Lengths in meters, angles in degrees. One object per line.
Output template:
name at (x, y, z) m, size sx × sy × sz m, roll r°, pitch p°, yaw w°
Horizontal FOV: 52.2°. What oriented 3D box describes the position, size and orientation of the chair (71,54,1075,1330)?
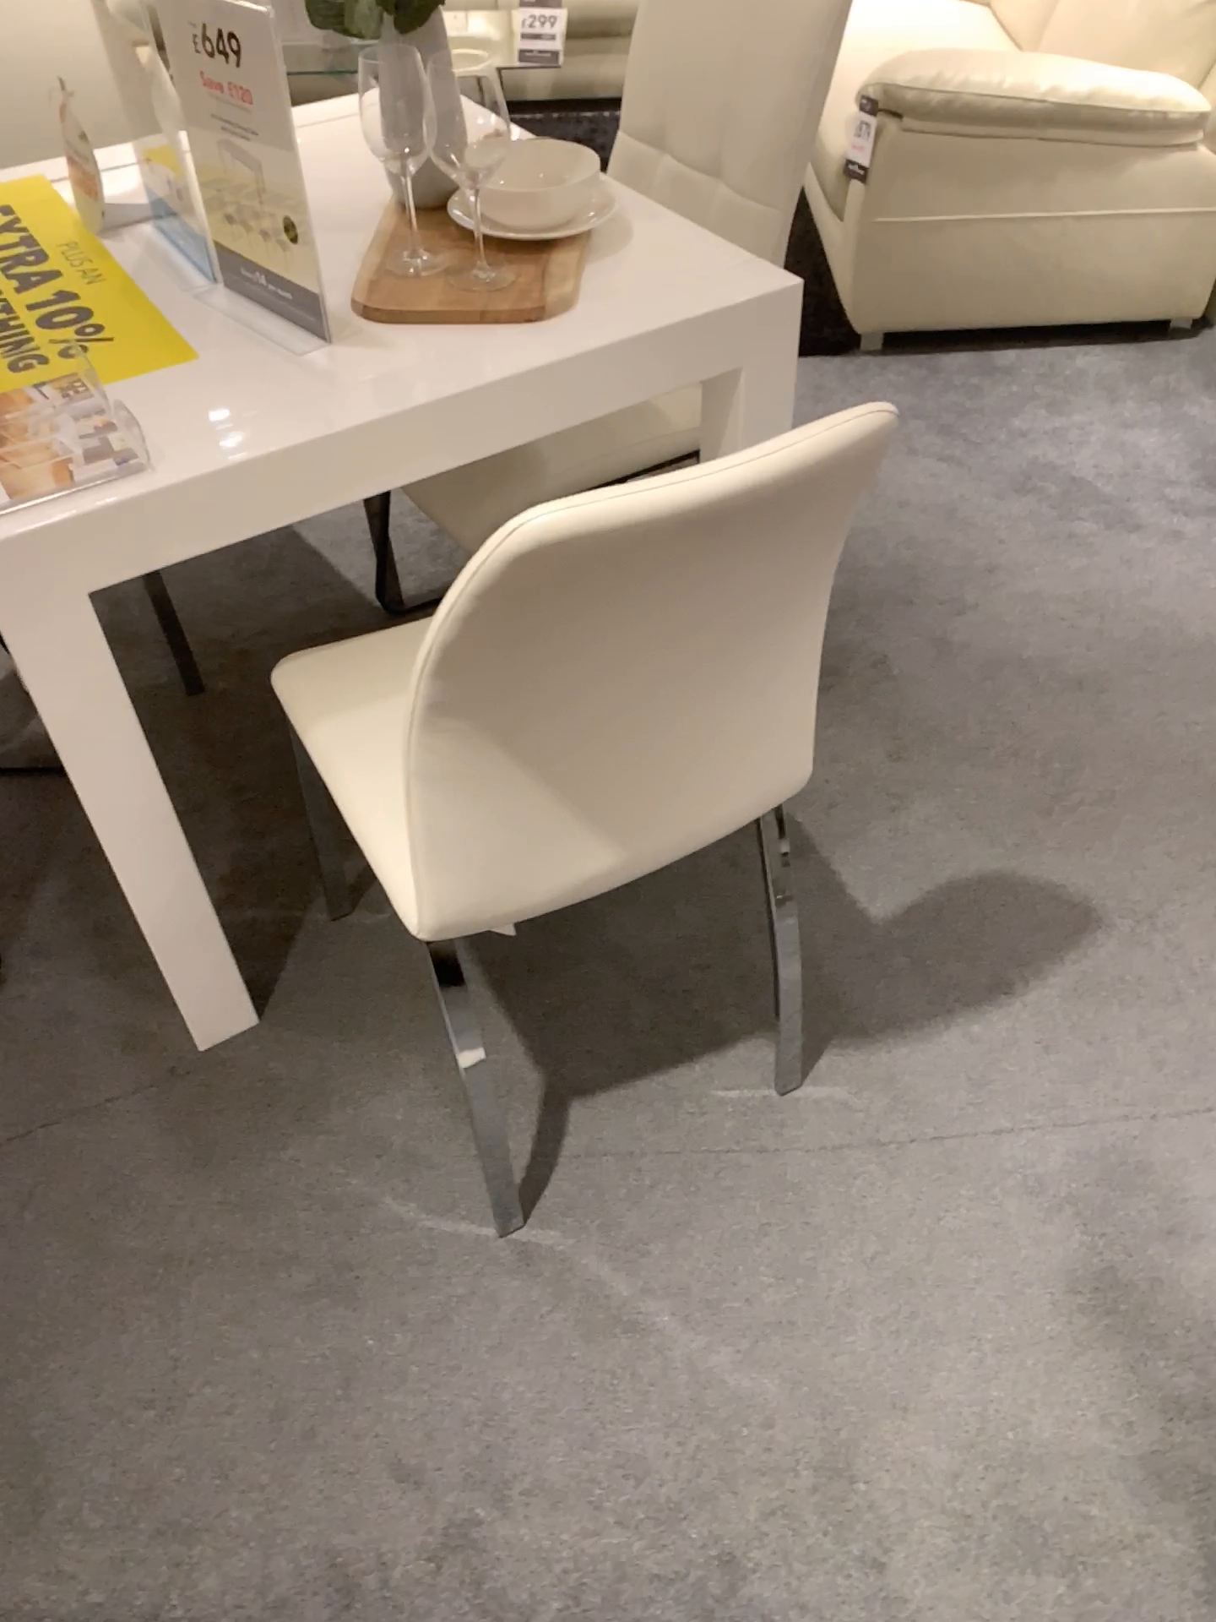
chair at (-0.067, -0.083, 1.217) m, size 0.480 × 0.955 × 0.649 m, roll -21°, pitch 49°, yaw -17°
